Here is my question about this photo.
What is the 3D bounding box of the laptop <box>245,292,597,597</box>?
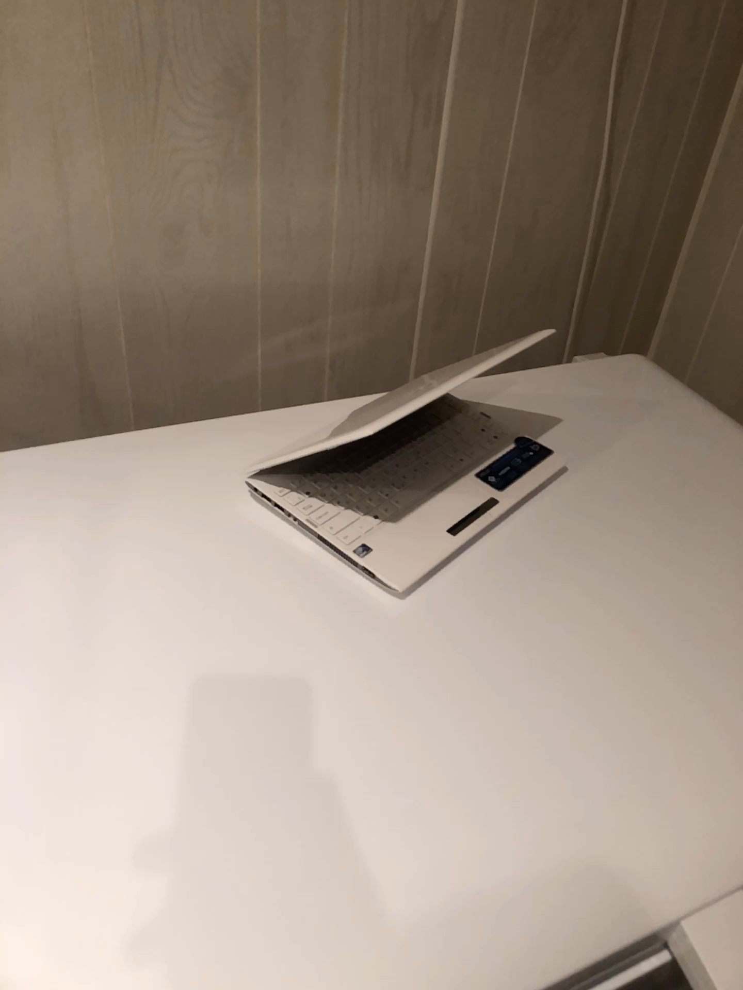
[{"bbox_3d":[0.054,-0.069,0.813,0.198,0.115,0.300,33,45,25],"label":"laptop"}]
